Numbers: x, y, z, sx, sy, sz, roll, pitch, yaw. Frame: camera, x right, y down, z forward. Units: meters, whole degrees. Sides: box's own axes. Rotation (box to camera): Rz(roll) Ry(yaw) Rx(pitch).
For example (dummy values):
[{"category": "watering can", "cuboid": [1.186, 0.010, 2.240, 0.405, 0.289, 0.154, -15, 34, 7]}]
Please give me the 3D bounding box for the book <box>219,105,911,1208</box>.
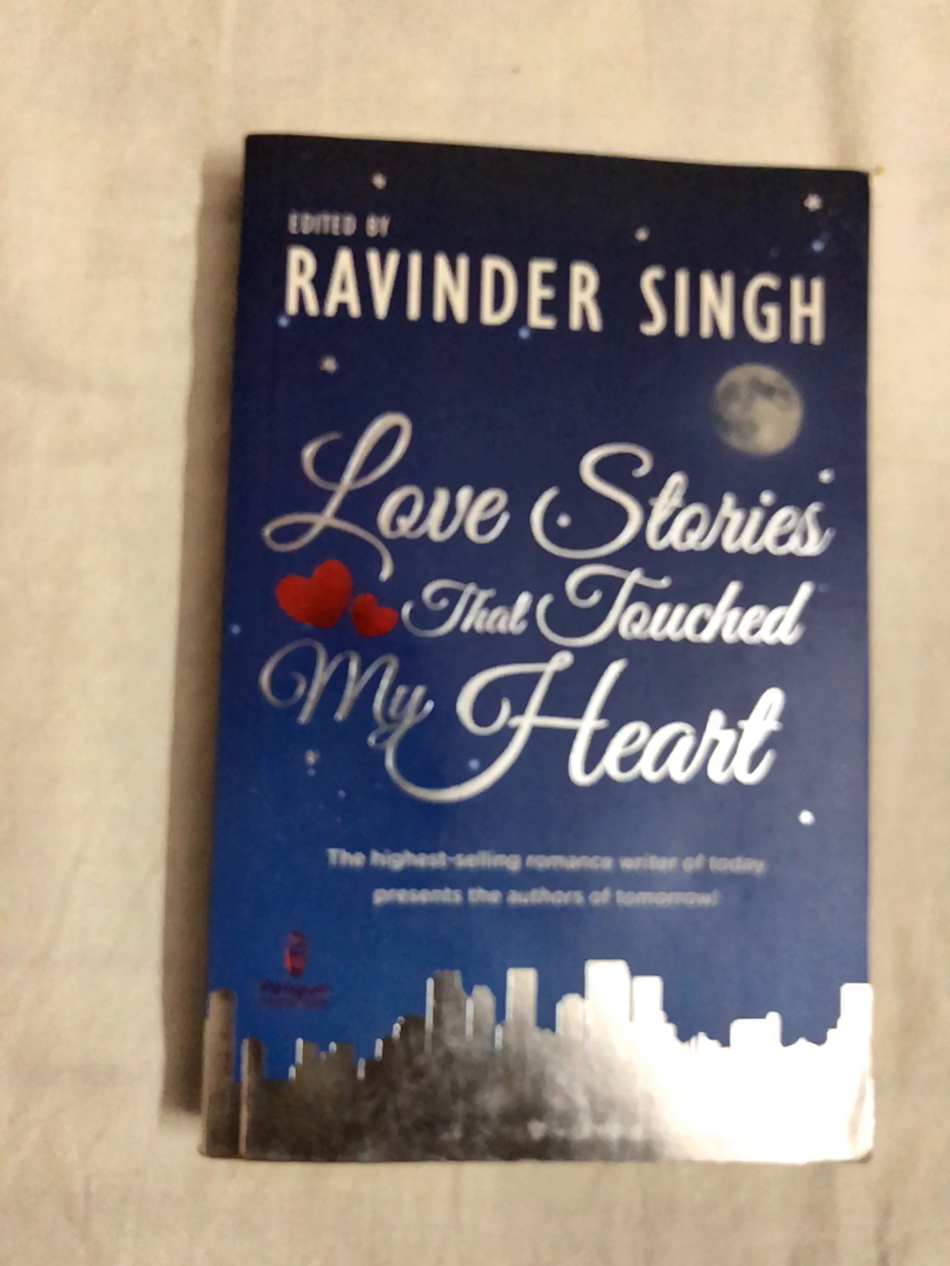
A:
[{"category": "book", "cuboid": [0.020, 0.004, 0.225, 0.130, 0.030, 0.210, 2, 86, -3]}]
